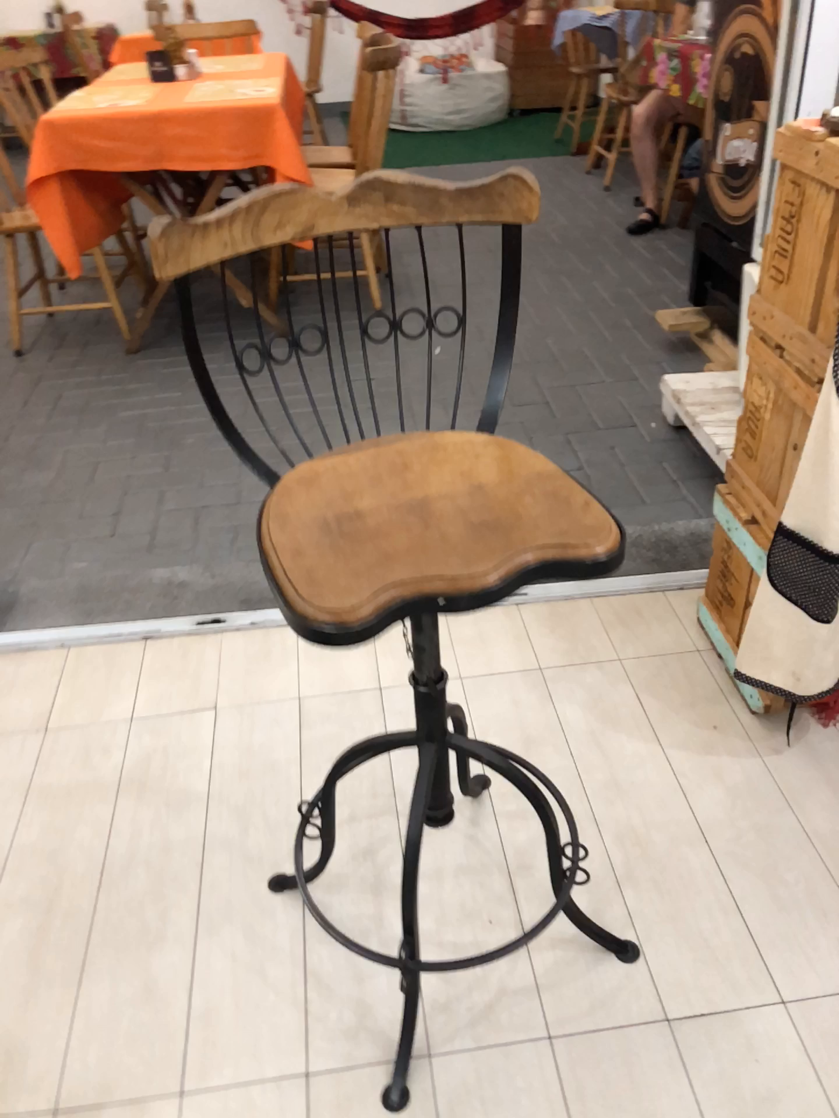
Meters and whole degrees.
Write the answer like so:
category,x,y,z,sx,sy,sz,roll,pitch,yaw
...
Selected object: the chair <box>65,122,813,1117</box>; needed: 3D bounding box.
category,x,y,z,sx,sy,sz,roll,pitch,yaw
chair,-0.007,0.070,0.996,0.460,0.893,0.473,-16,35,-18
